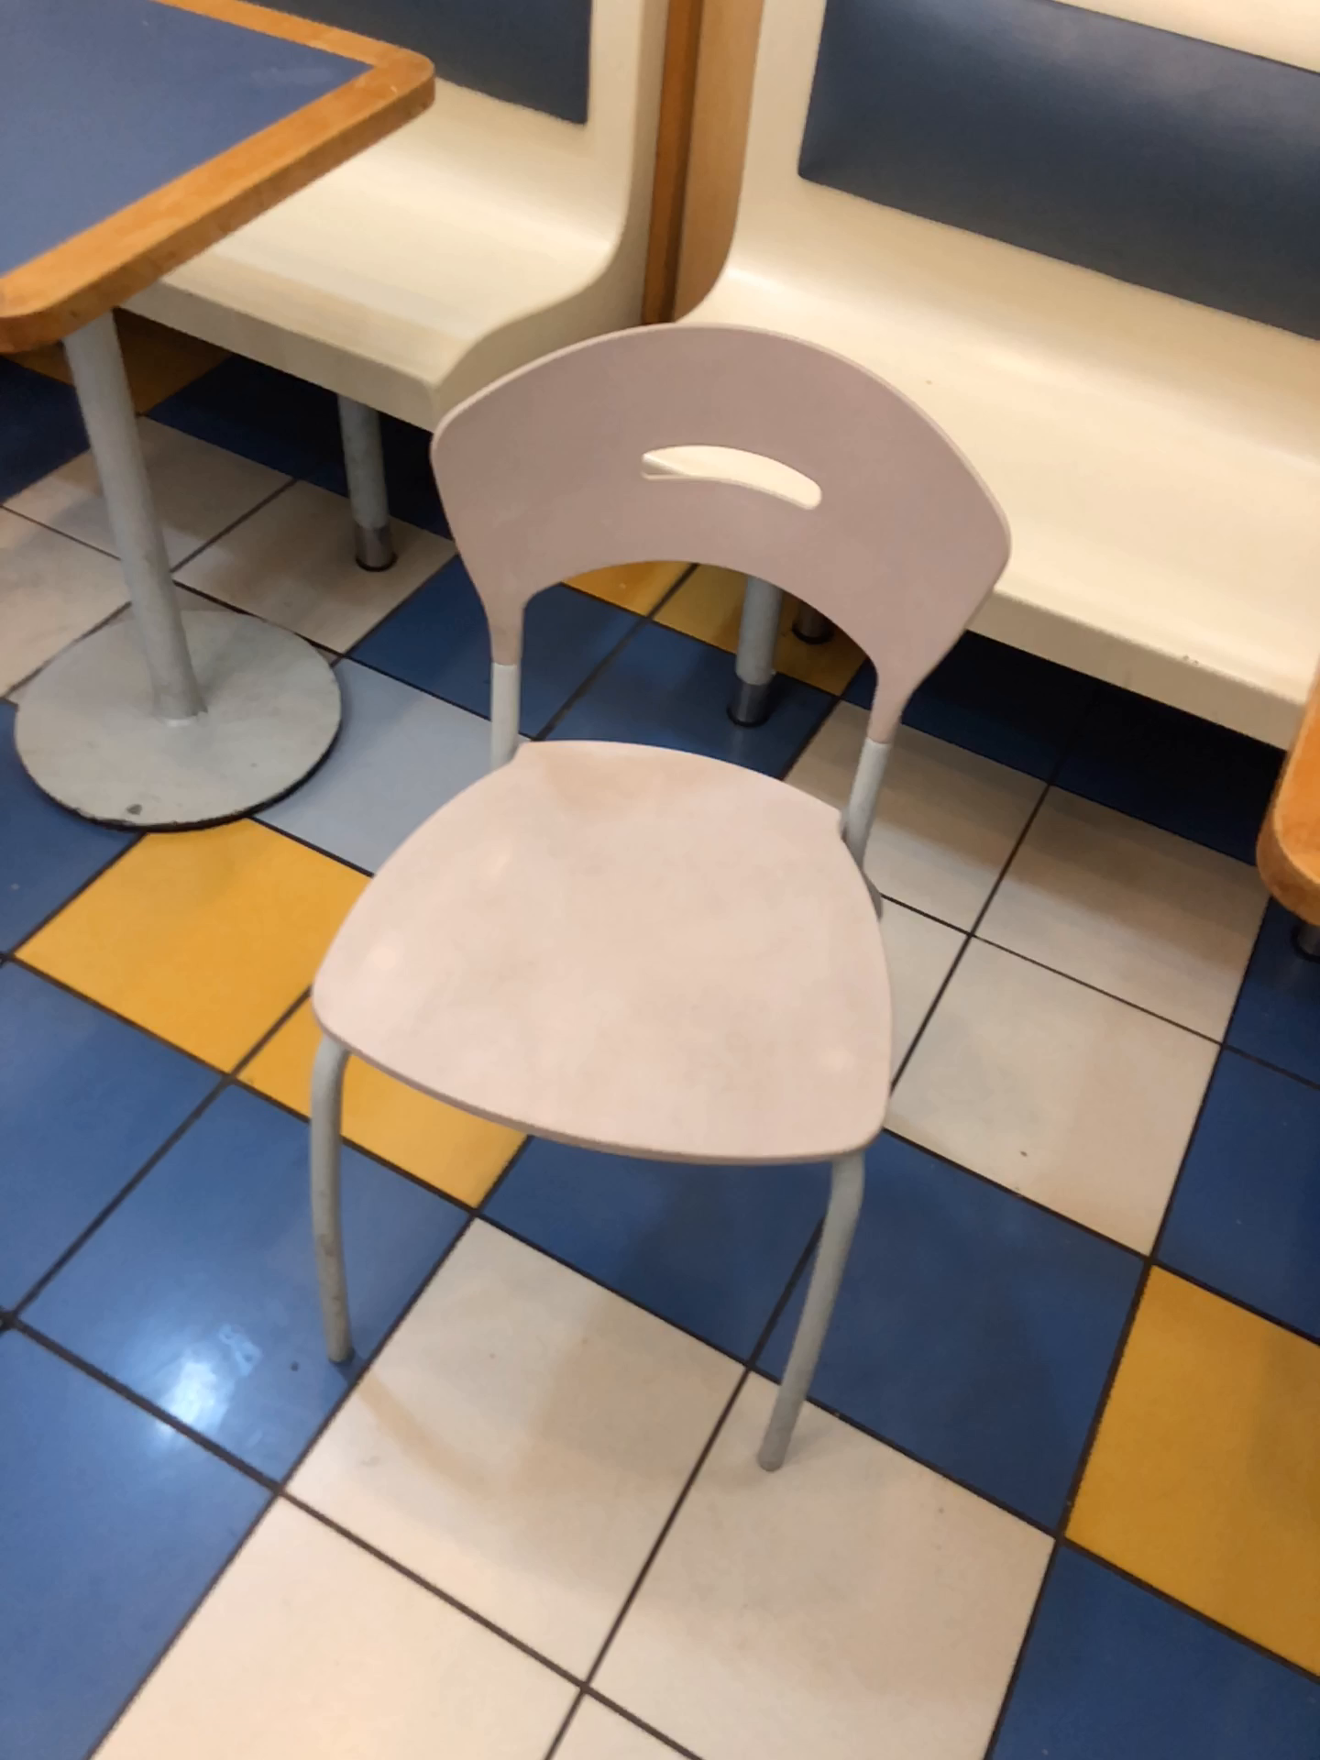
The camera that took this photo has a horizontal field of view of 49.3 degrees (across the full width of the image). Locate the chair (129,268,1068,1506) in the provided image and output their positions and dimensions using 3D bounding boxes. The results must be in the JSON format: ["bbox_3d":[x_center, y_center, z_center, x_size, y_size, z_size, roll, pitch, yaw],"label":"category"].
[{"bbox_3d":[-0.016,0.048,1.133,0.440,0.775,0.513,12,48,5],"label":"chair"}]
